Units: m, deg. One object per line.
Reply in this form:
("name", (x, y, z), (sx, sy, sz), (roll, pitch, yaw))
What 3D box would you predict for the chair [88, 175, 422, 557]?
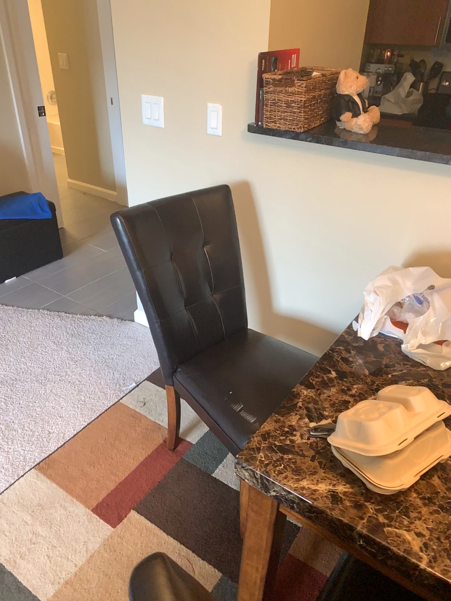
("chair", (0.103, 0.146, 1.720), (0.733, 0.925, 0.812), (26, 38, 35))
